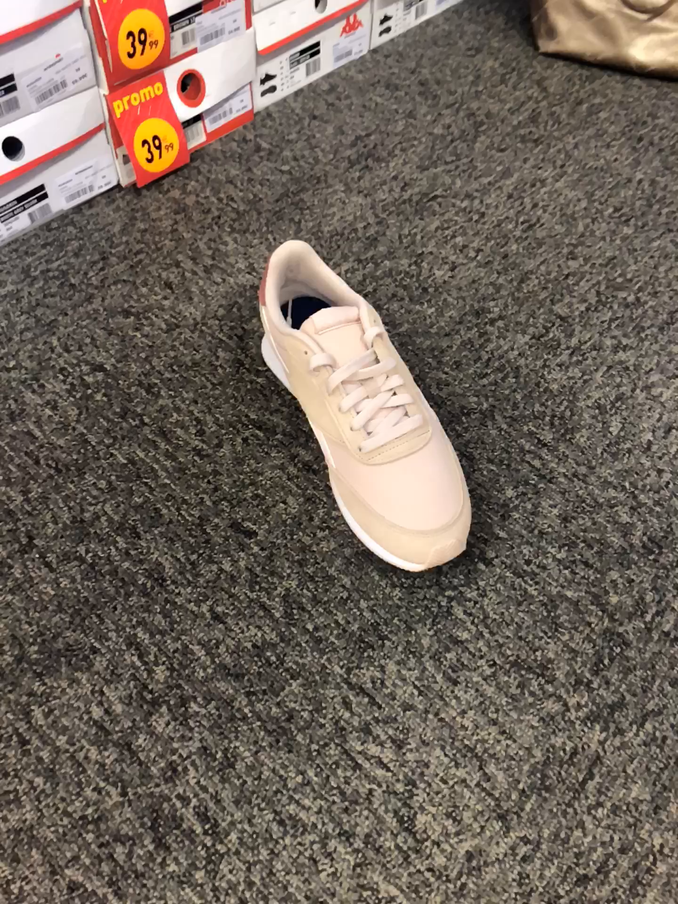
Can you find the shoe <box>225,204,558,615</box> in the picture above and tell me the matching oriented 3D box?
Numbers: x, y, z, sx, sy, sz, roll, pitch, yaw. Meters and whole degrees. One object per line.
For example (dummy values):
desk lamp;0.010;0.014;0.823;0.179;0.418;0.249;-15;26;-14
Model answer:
shoe;0.020;-0.040;0.533;0.100;0.109;0.270;-21;59;-17
